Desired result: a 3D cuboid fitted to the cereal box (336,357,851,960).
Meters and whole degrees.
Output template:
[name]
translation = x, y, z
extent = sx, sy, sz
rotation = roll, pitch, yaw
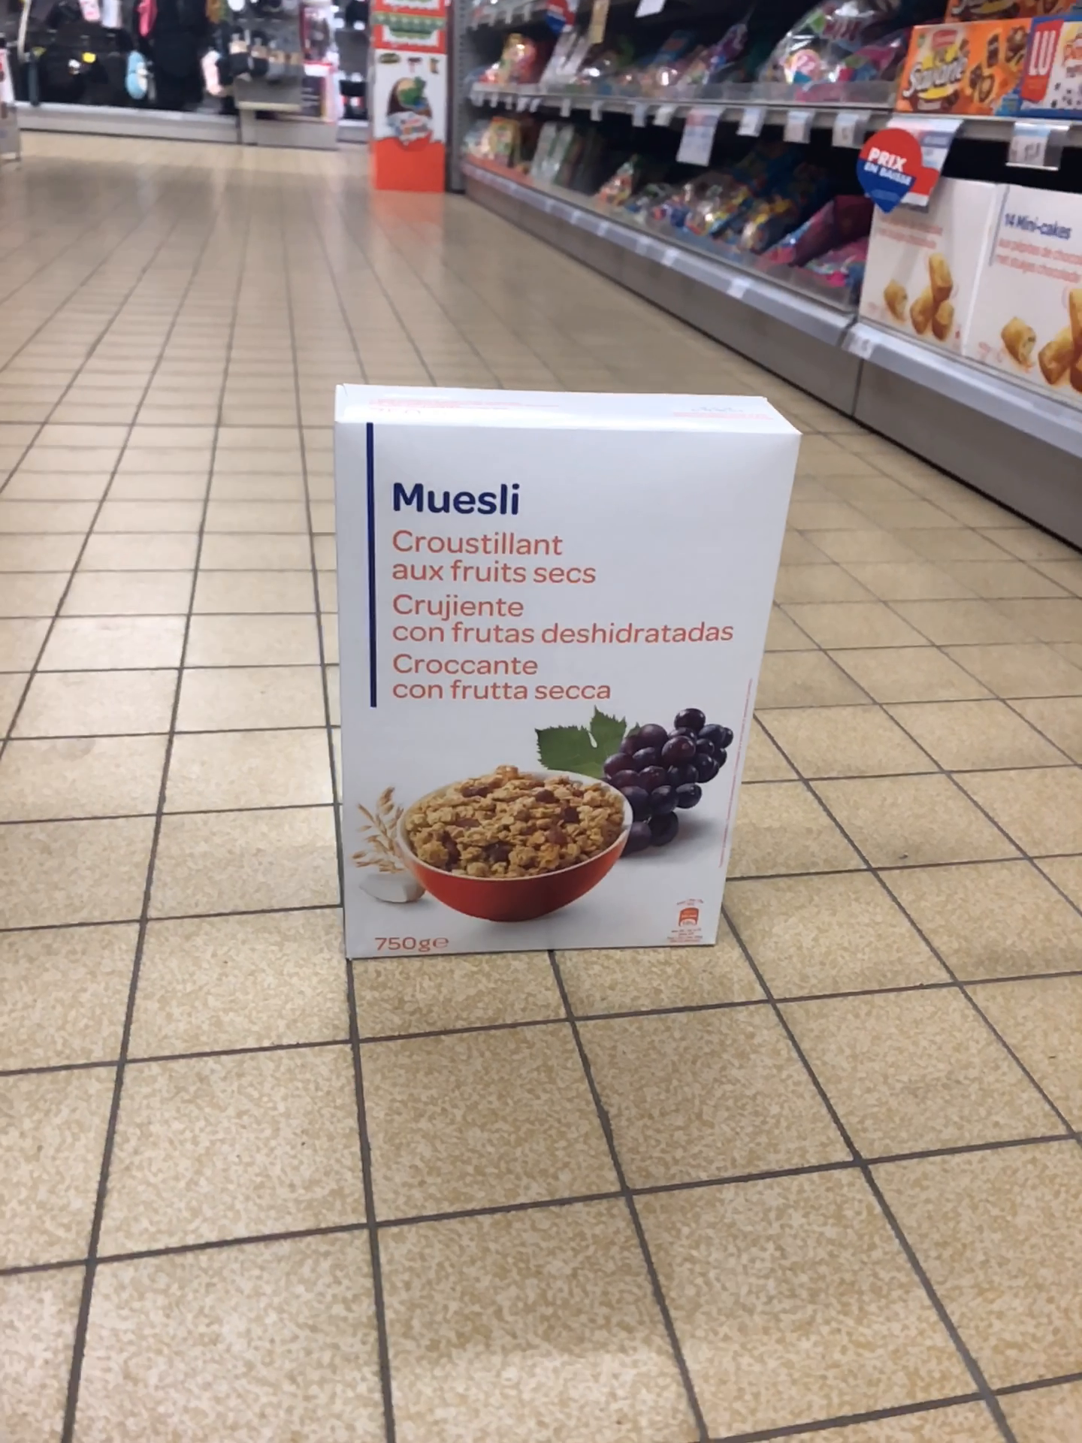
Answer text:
[cereal box]
translation = 0.010, -0.018, 0.544
extent = 0.200, 0.268, 0.060
rotation = 0, 28, -8
